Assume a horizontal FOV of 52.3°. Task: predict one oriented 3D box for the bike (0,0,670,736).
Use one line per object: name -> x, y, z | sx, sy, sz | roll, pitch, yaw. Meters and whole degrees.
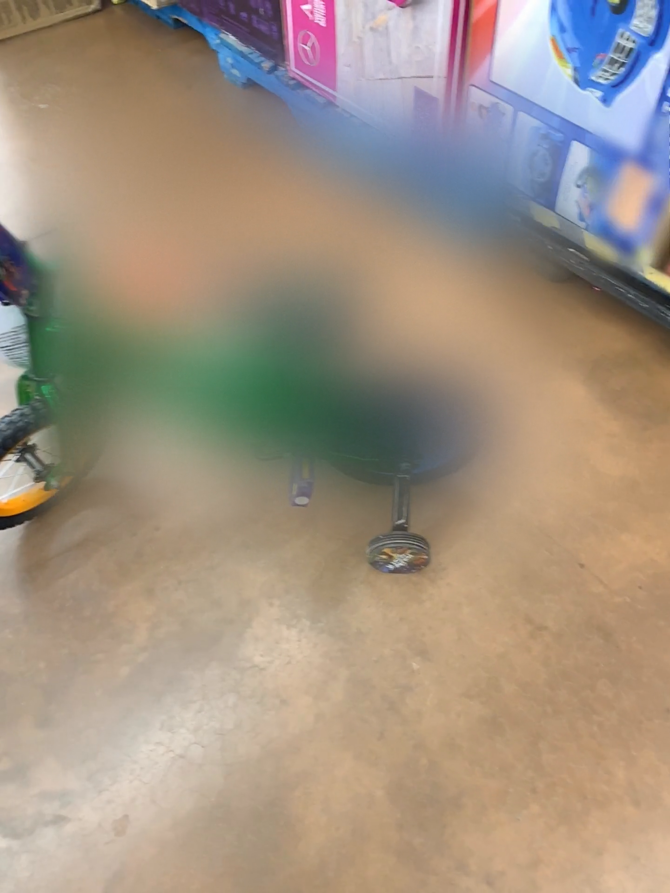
bike -> -0.150, -0.081, 0.872 | 0.850, 0.733, 0.490 | -8, 53, -8
